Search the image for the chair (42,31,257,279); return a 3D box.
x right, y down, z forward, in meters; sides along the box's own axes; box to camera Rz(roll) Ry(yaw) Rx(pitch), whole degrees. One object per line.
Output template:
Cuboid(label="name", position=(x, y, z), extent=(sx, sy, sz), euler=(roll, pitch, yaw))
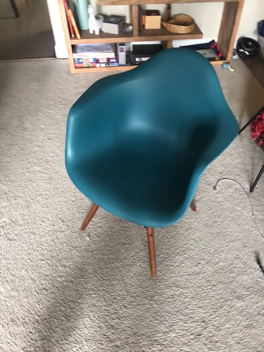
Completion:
Cuboid(label="chair", position=(0.071, -0.066, 1.271), extent=(0.570, 0.844, 0.483), euler=(23, 50, 20))
